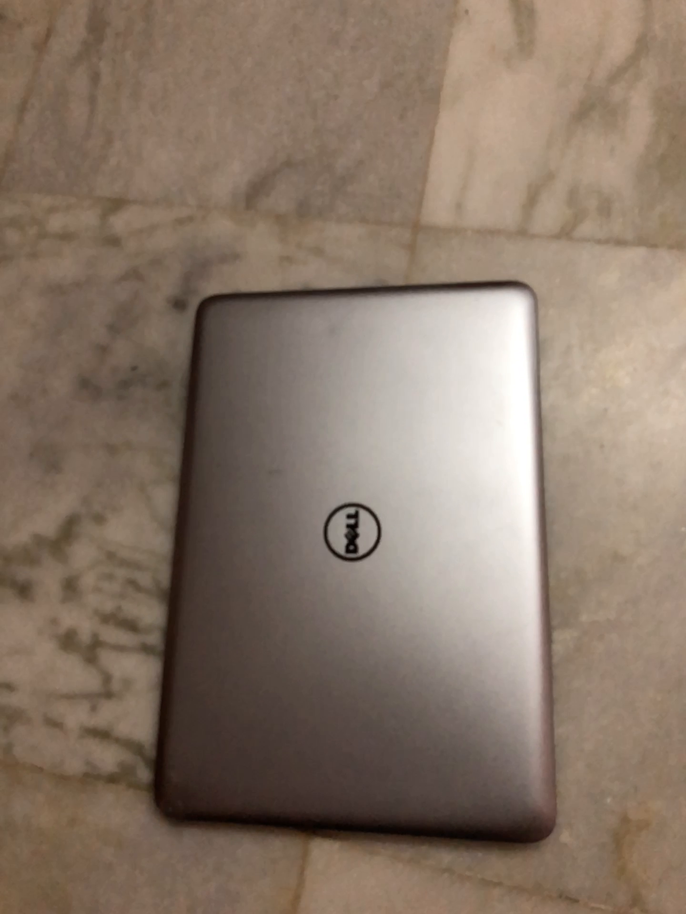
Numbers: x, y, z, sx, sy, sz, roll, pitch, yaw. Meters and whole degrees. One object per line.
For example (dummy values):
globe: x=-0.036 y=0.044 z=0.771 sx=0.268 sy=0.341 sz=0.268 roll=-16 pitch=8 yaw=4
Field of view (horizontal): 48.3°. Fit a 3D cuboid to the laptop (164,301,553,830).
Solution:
laptop: x=0.009 y=0.059 z=0.521 sx=0.244 sy=0.002 sz=0.346 roll=-1 pitch=75 yaw=9
